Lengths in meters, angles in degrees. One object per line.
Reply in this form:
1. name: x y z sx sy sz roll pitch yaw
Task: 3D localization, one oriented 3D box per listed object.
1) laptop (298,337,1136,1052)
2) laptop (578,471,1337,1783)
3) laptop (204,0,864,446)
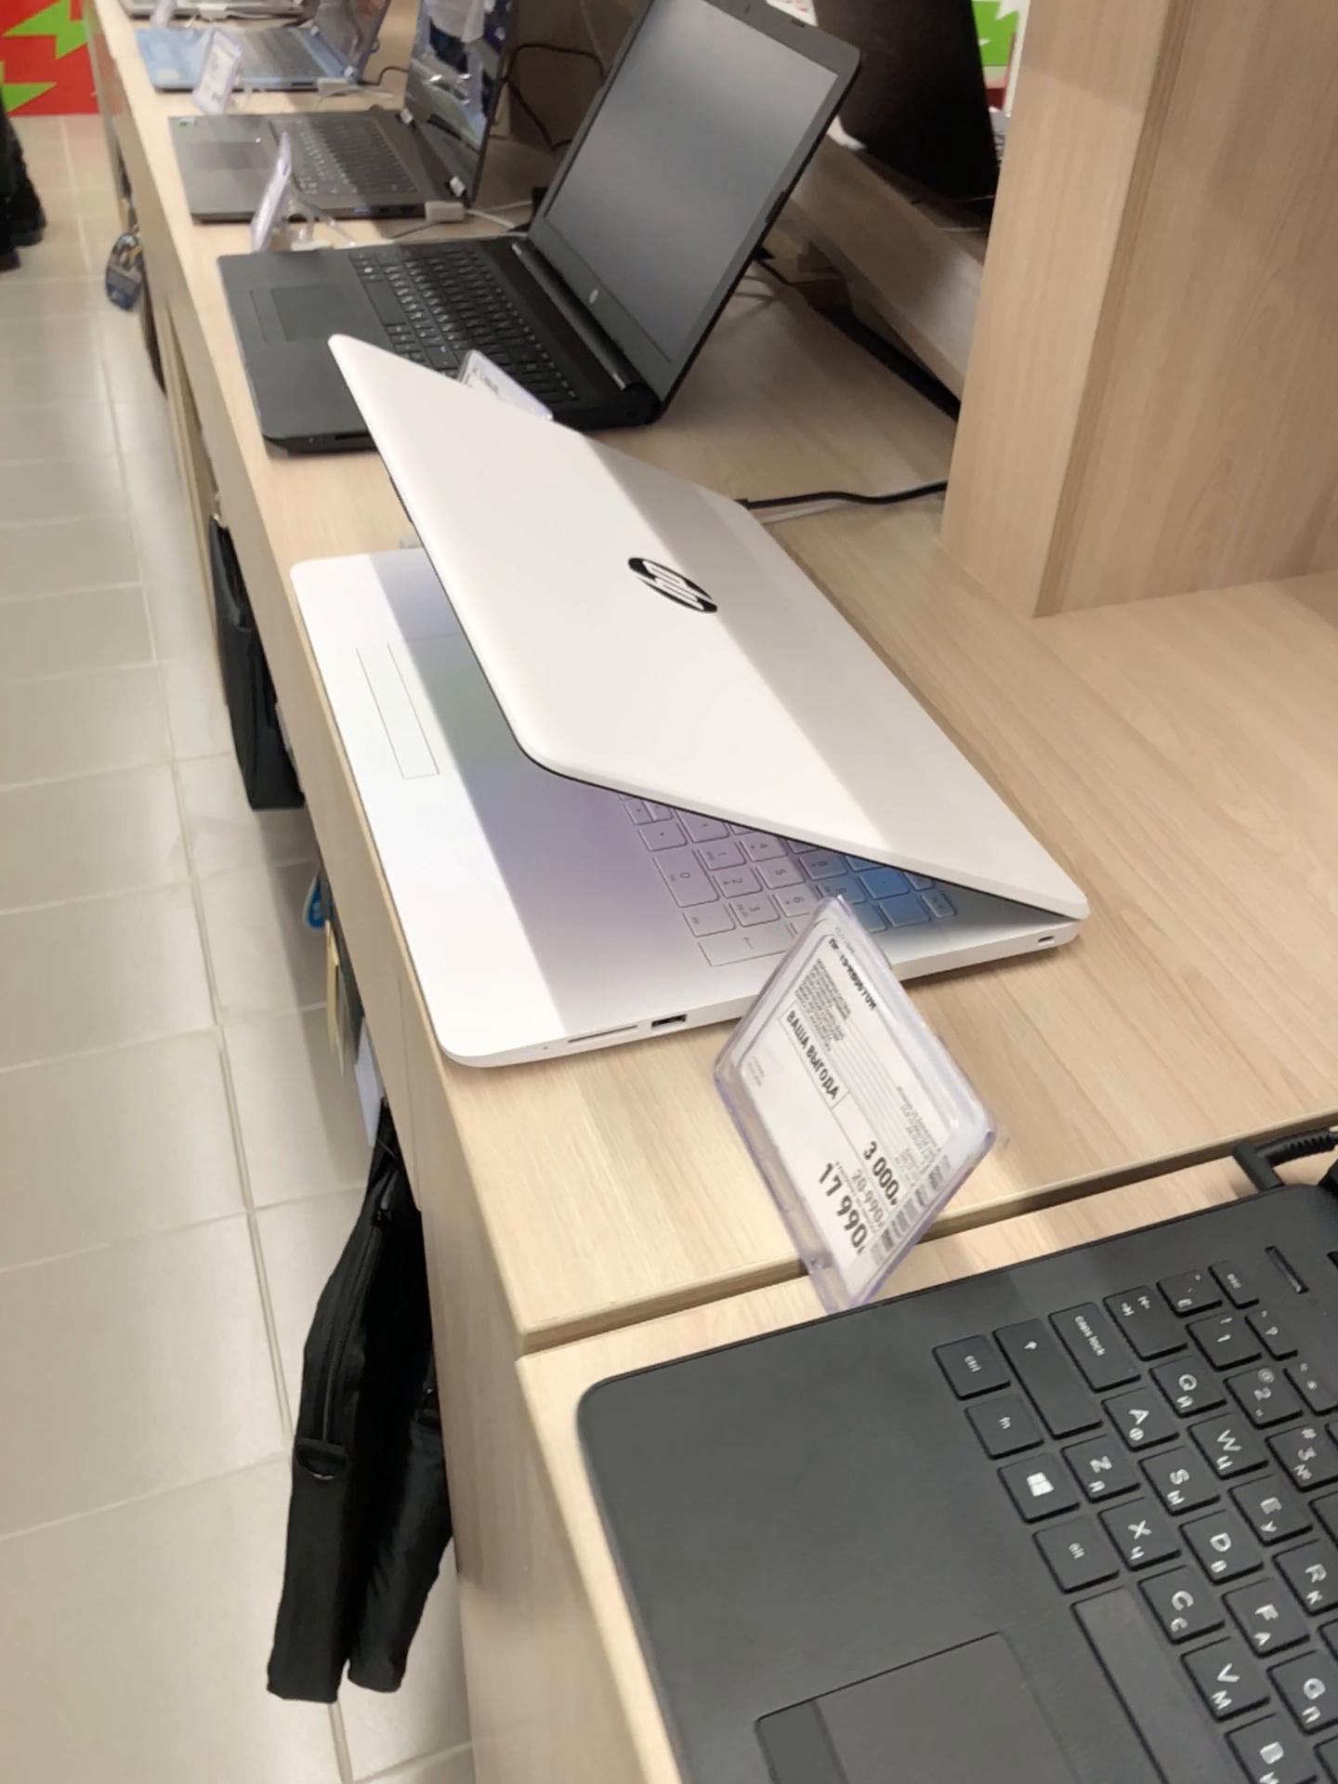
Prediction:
1. laptop: -0.013 -0.118 0.642 0.232 0.103 0.370 -12 40 -14
2. laptop: 0.212 0.136 0.240 0.349 0.219 0.393 -11 42 -17
3. laptop: -0.114 -0.507 1.043 0.368 0.203 0.388 -10 41 -16
